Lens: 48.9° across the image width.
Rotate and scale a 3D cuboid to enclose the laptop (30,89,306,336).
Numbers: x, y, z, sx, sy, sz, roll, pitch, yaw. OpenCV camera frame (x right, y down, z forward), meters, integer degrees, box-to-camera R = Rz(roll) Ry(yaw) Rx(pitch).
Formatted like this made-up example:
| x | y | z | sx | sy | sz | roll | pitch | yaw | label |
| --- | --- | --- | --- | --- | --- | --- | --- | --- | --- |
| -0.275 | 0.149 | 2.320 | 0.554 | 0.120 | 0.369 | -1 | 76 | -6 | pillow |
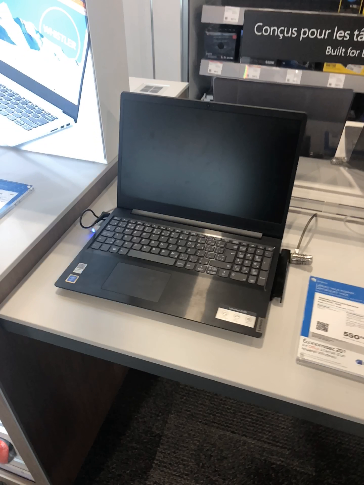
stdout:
| x | y | z | sx | sy | sz | roll | pitch | yaw | label |
| --- | --- | --- | --- | --- | --- | --- | --- | --- | --- |
| 0.002 | -0.080 | 0.693 | 0.346 | 0.213 | 0.324 | 12 | 42 | 14 | laptop |
